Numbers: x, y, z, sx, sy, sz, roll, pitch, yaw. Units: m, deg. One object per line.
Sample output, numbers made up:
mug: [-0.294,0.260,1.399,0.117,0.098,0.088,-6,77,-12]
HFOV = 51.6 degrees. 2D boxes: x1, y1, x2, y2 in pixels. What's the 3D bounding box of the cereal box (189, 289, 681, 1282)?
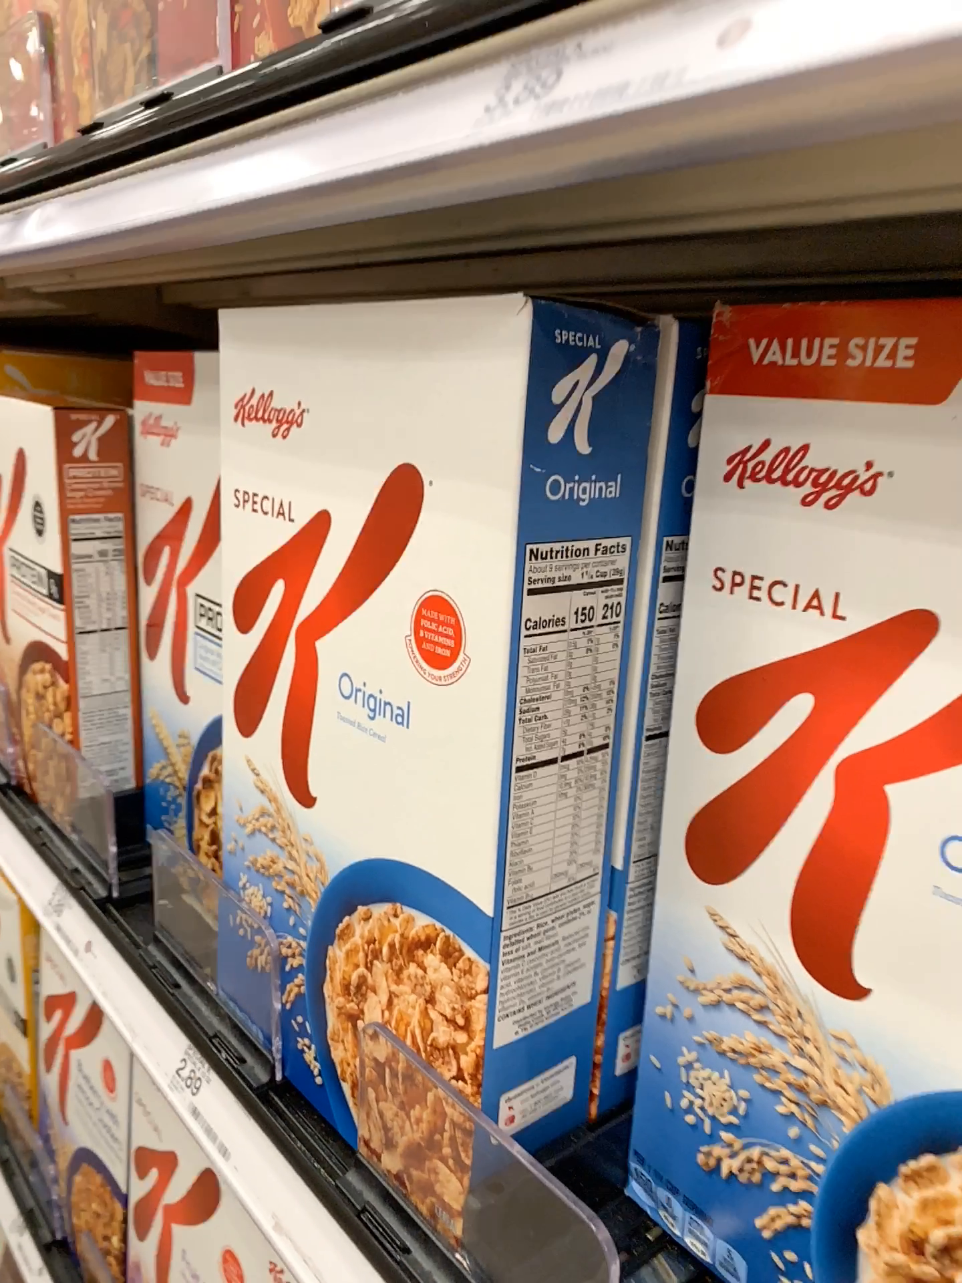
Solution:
cereal box: [-0.038,0.042,0.375,0.060,0.319,0.190,-7,17,-41]
